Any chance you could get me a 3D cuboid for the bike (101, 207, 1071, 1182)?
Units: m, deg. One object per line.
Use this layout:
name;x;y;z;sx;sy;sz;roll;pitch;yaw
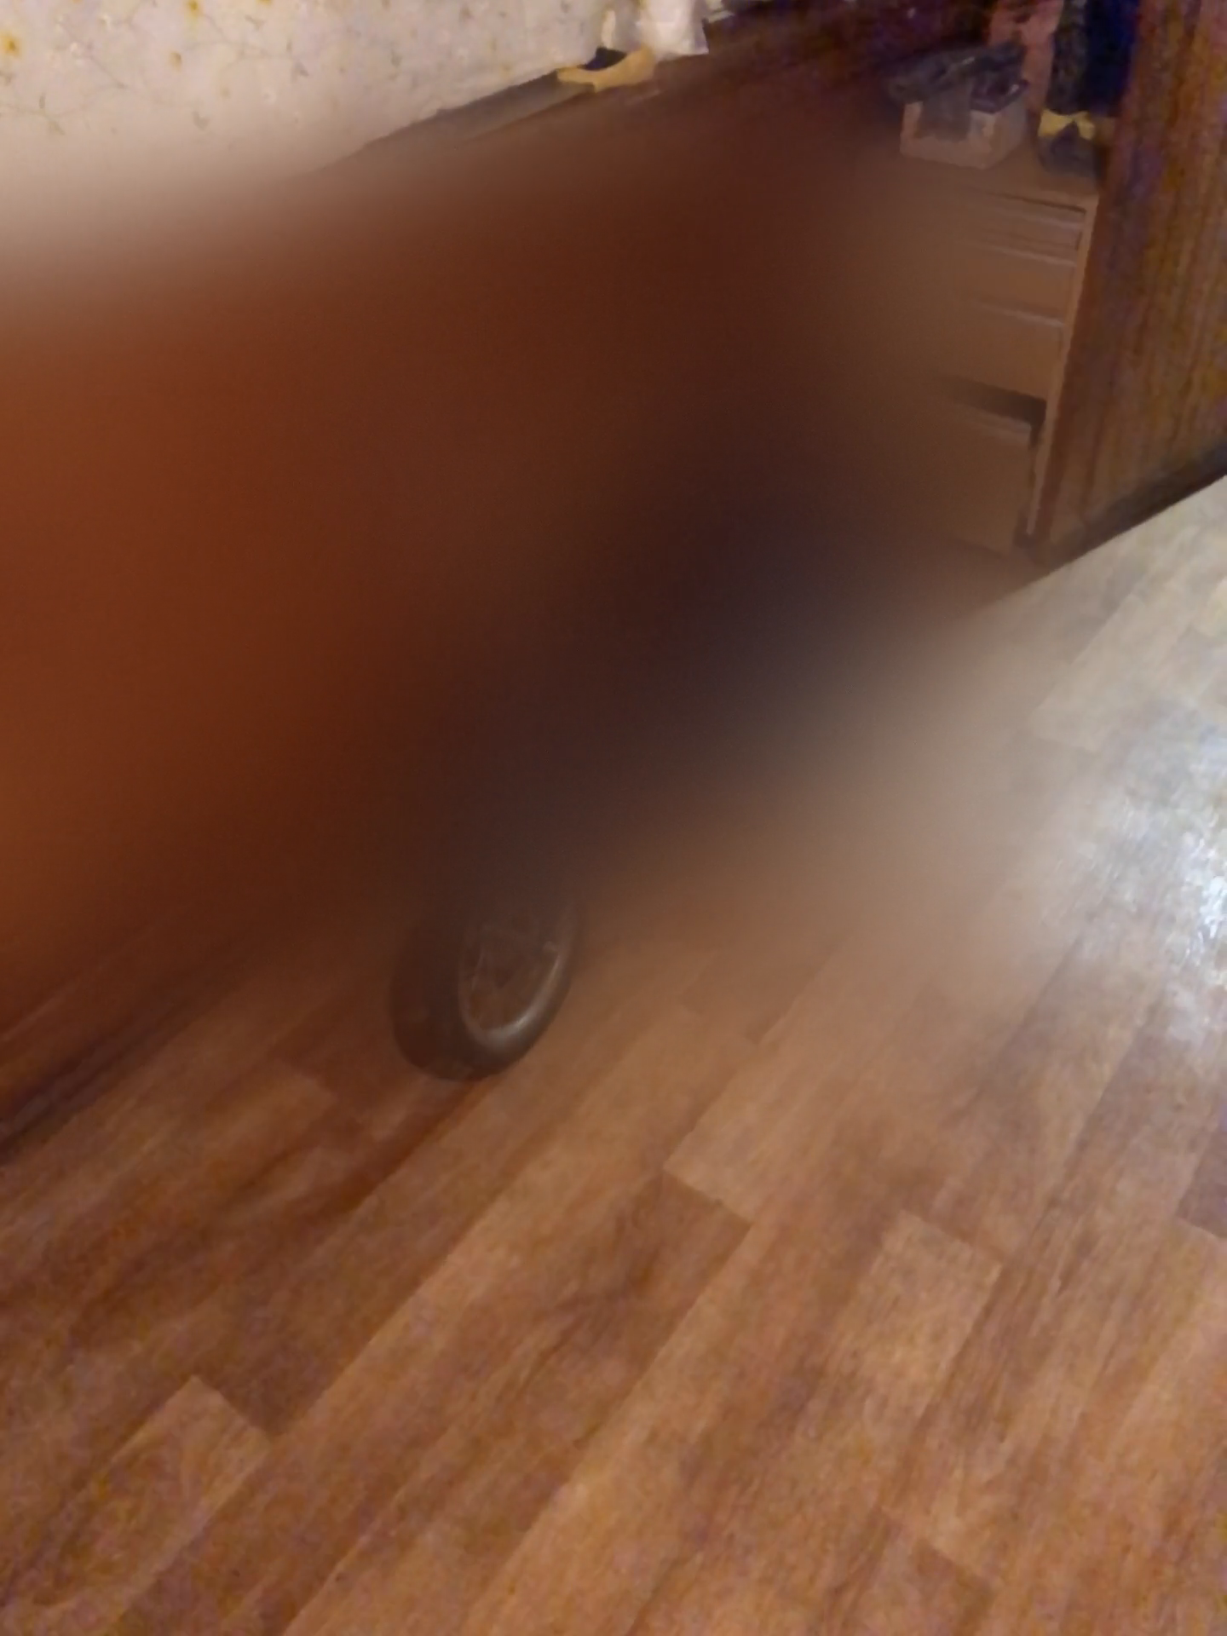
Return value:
bike;0.039;-0.235;1.648;0.594;0.697;0.961;26;46;28
